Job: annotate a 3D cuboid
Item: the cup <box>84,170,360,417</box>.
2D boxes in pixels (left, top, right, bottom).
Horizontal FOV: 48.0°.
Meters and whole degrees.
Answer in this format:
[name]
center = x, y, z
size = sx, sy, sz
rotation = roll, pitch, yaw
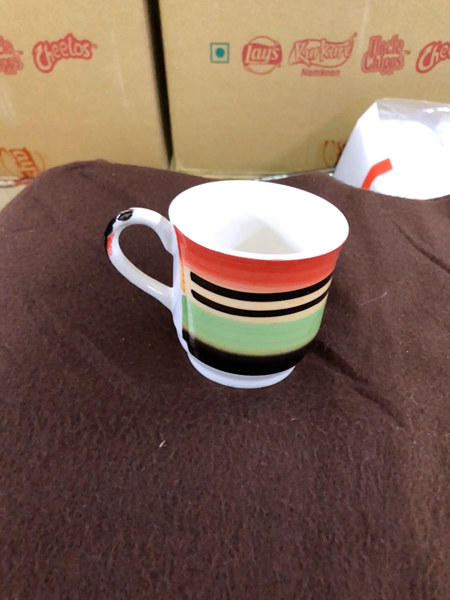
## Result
[cup]
center = 0.003, -0.007, 0.211
size = 0.090, 0.070, 0.070
rotation = 4, 34, 7
